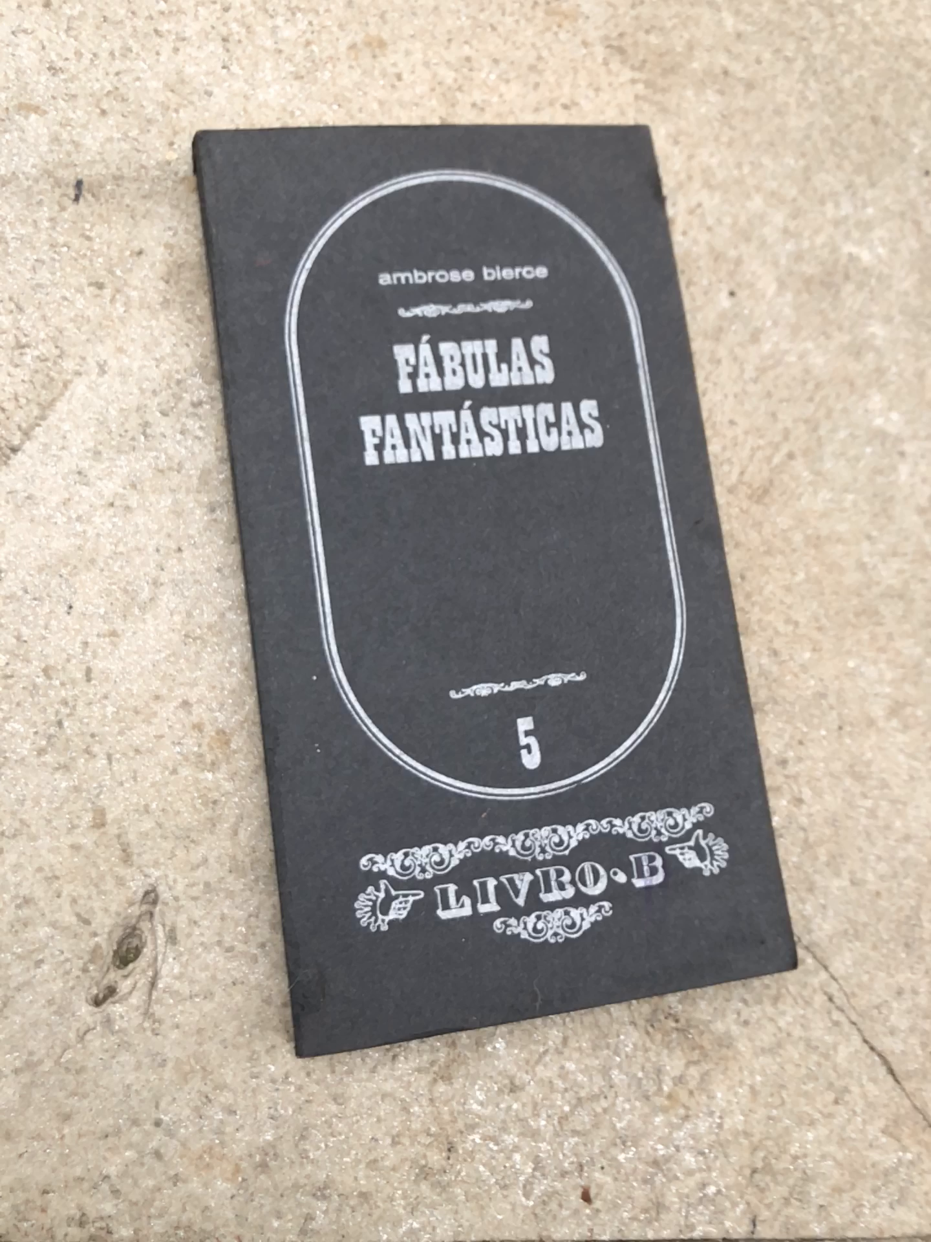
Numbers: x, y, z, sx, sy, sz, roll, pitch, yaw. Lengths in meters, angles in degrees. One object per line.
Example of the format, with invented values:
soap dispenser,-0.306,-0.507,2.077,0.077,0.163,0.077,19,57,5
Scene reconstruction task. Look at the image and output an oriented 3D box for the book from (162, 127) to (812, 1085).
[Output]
book,0.003,-0.011,0.207,0.104,0.013,0.176,-6,83,-11
